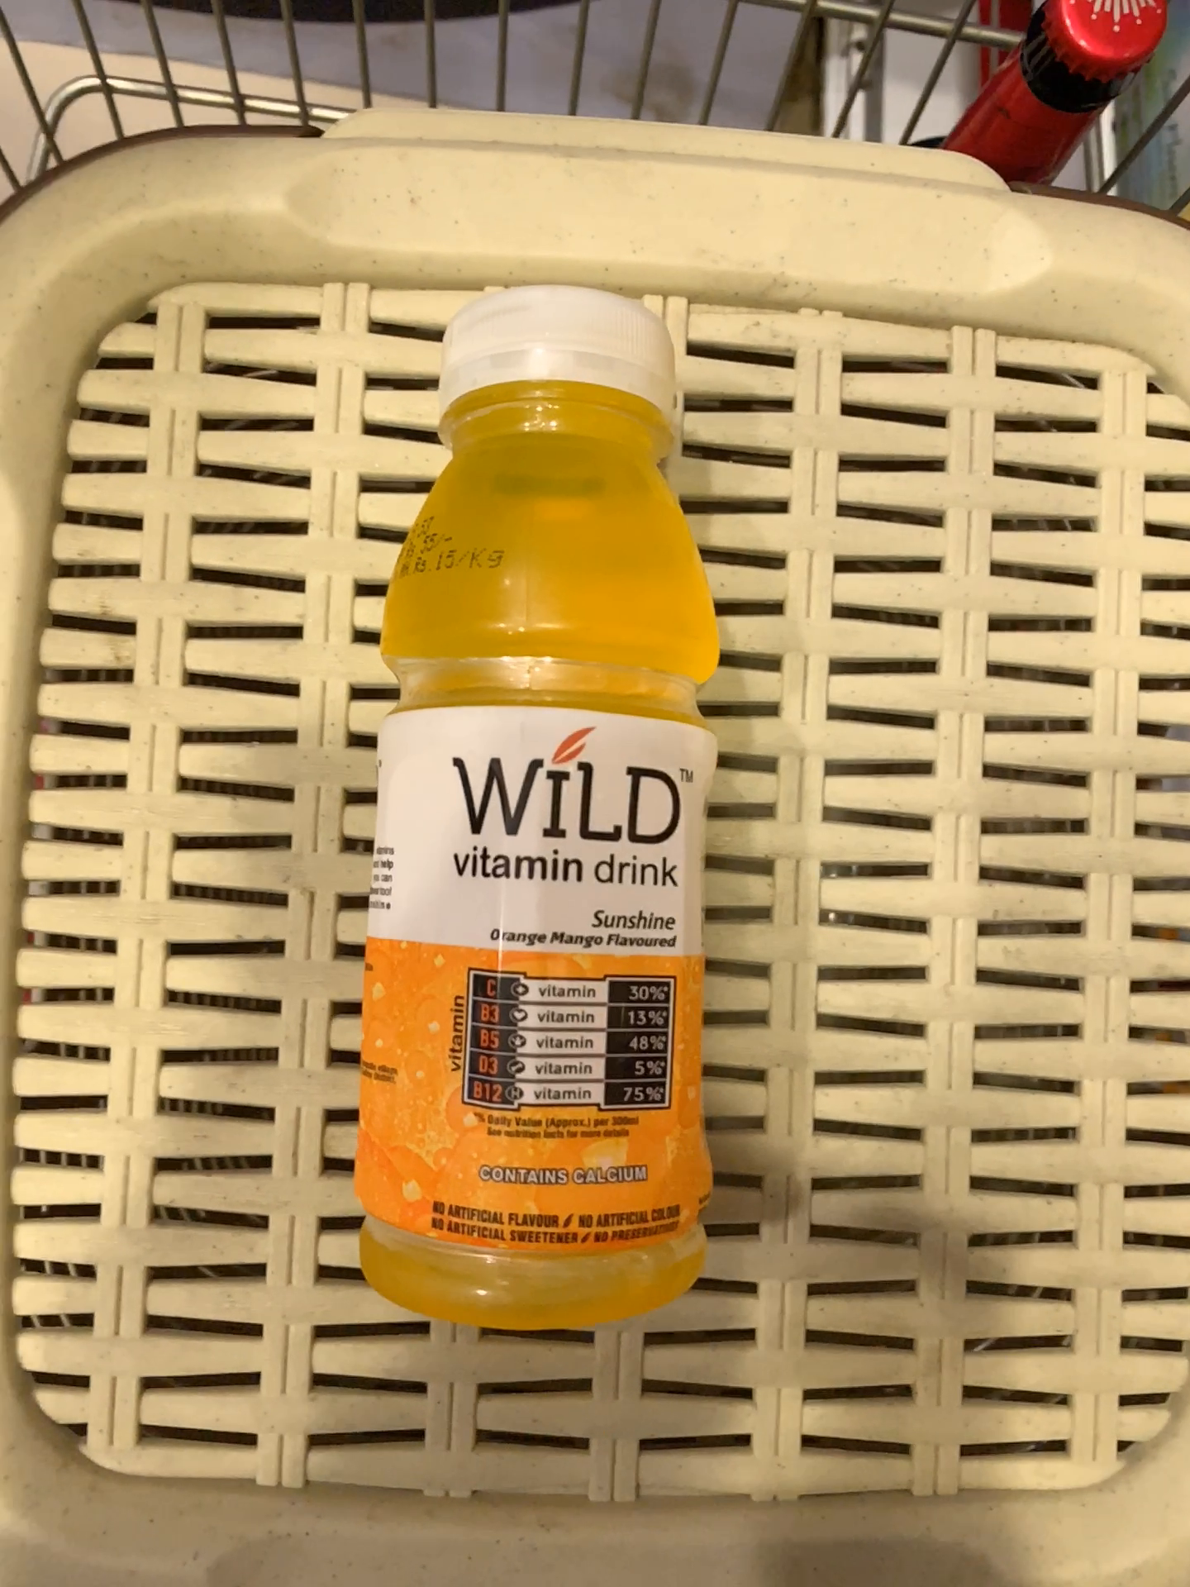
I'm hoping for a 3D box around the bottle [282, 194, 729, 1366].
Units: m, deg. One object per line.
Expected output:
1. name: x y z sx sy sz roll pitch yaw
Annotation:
1. bottle: -0.019 -0.001 0.216 0.060 0.060 0.170 3 88 -17
